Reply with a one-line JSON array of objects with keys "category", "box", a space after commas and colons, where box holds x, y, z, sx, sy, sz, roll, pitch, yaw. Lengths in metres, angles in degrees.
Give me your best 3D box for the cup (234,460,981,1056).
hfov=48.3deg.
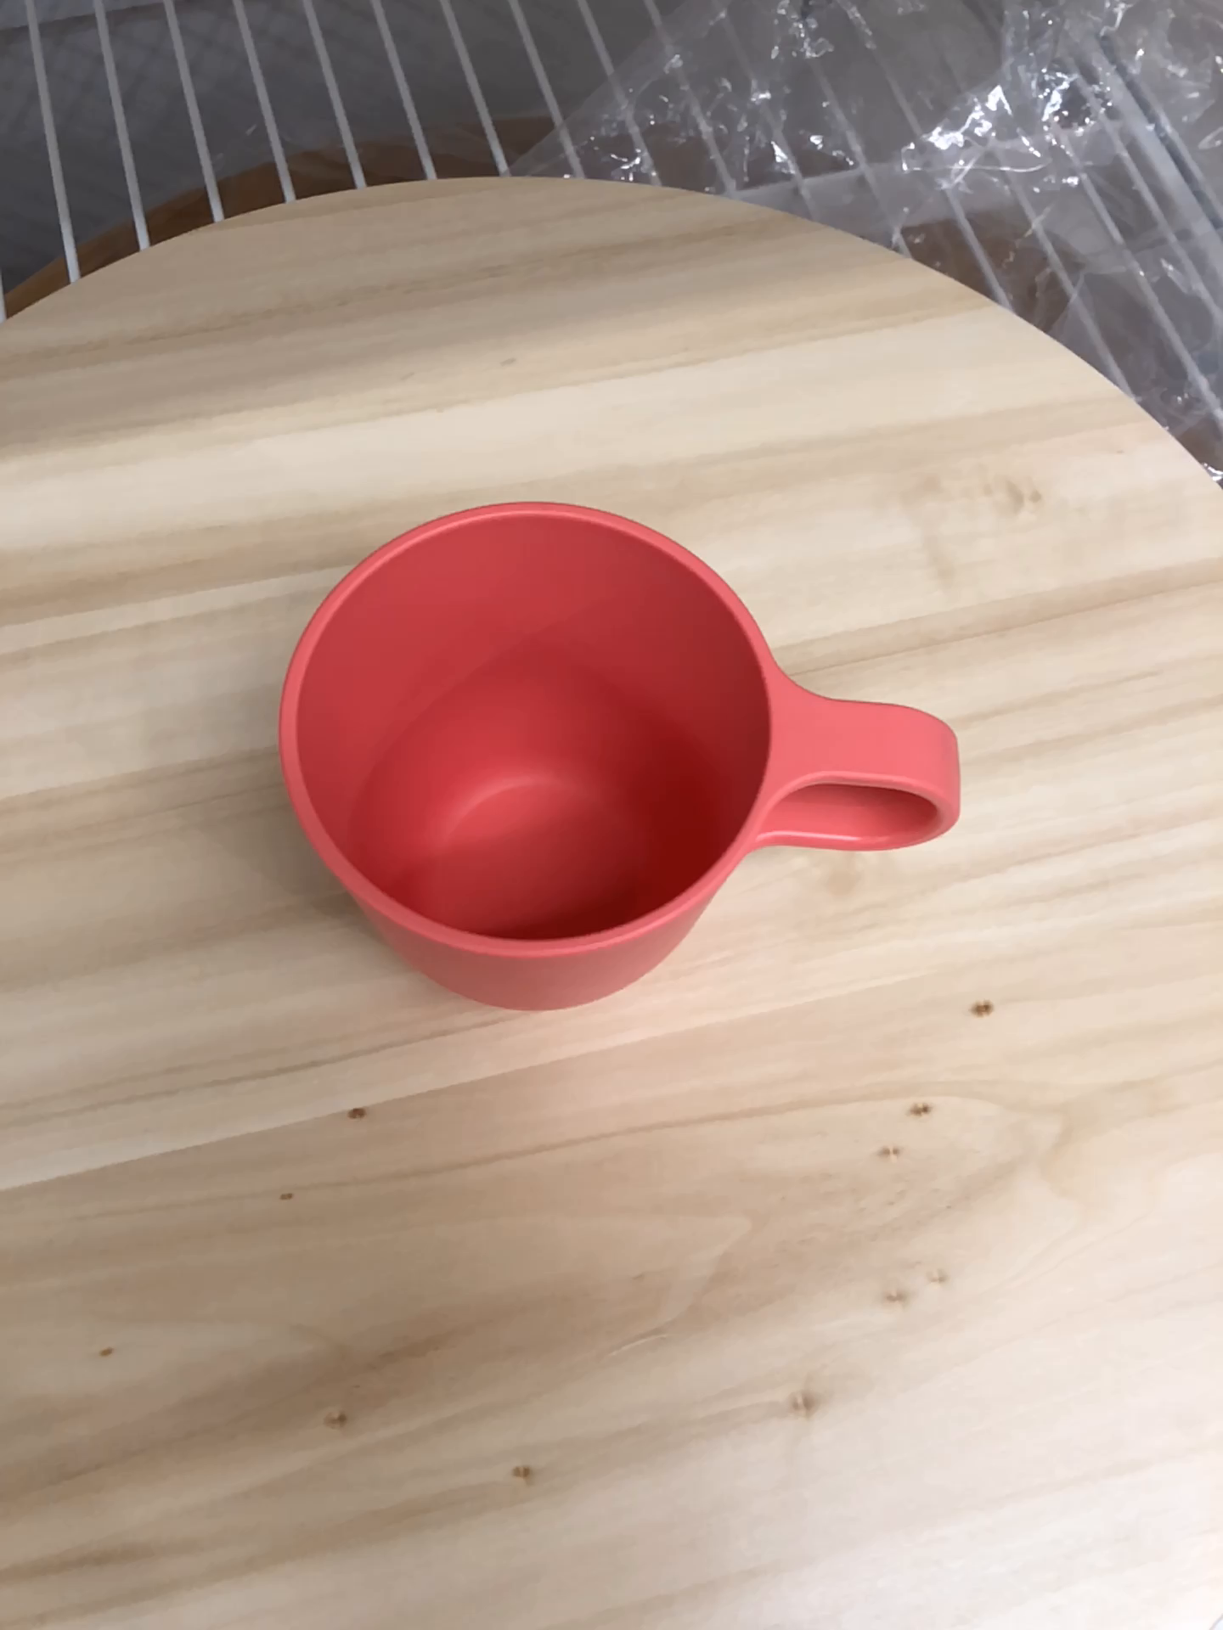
[{"category": "cup", "box": [0.000, -0.006, 0.254, 0.110, 0.080, 0.080, 2, 65, -1]}]
